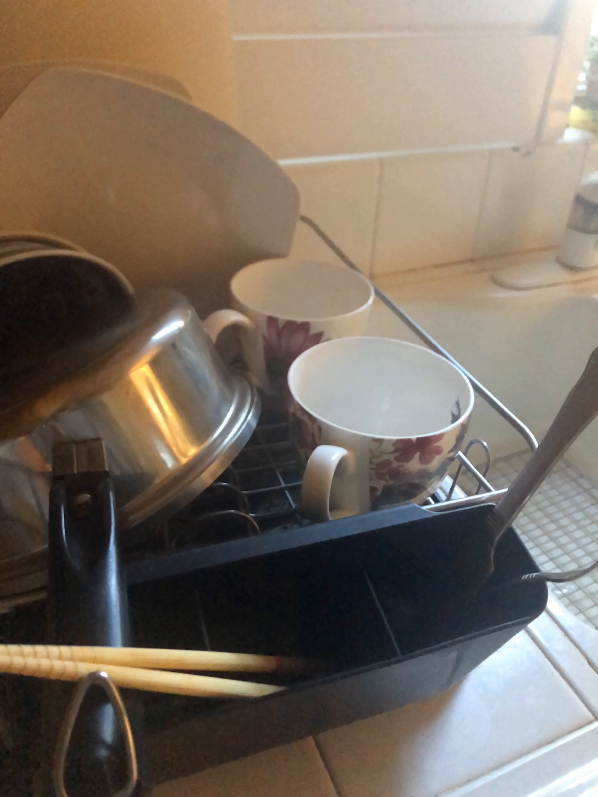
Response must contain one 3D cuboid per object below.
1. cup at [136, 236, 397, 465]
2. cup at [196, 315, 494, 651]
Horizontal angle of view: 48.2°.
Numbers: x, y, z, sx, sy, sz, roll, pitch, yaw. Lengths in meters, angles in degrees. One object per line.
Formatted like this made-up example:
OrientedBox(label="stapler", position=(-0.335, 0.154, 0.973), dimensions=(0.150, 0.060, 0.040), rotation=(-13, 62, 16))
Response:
OrientedBox(label="cup", position=(-0.022, -0.046, 0.517), dimensions=(0.110, 0.089, 0.161), rotation=(30, 43, 33))
OrientedBox(label="cup", position=(0.033, 0.037, 0.397), dimensions=(0.110, 0.089, 0.161), rotation=(18, 38, 21))
